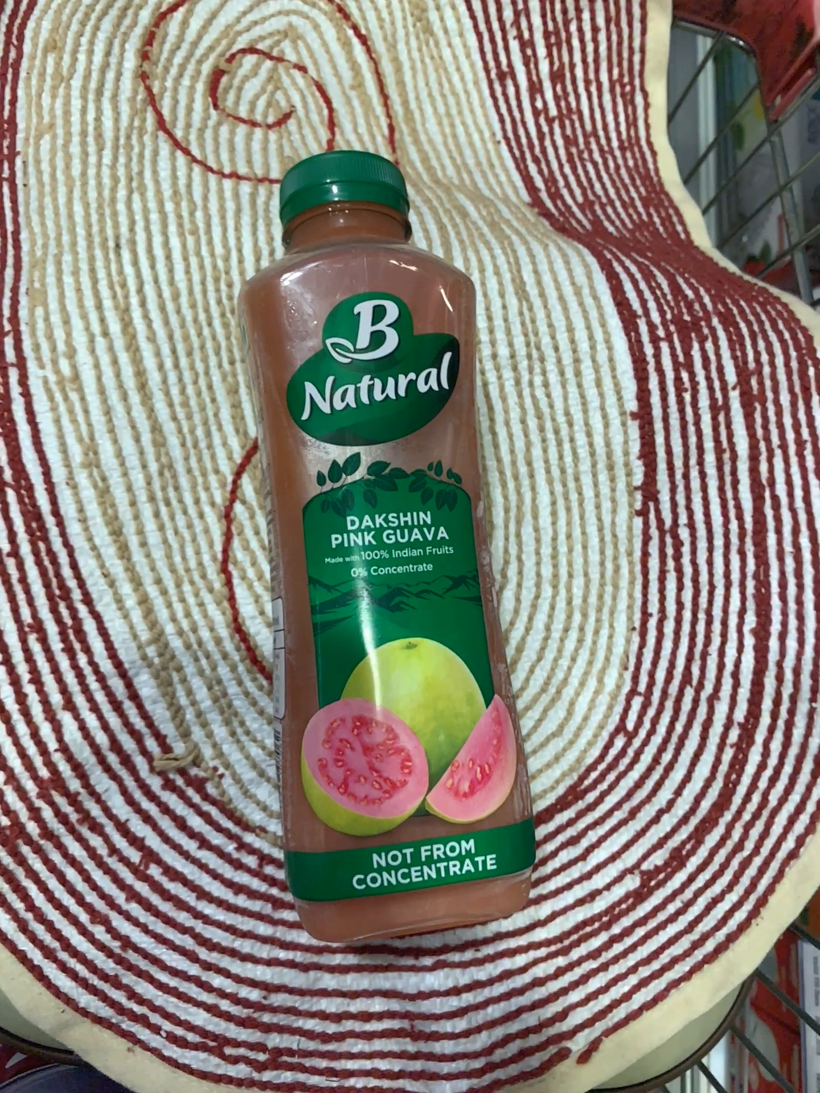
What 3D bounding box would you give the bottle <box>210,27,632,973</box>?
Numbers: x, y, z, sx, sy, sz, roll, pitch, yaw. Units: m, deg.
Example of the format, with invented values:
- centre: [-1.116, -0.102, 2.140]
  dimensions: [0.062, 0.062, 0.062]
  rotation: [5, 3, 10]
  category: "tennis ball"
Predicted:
- centre: [-0.003, -0.015, 0.223]
  dimensions: [0.080, 0.060, 0.210]
  rotation: [-4, 84, -9]
  category: "bottle"
